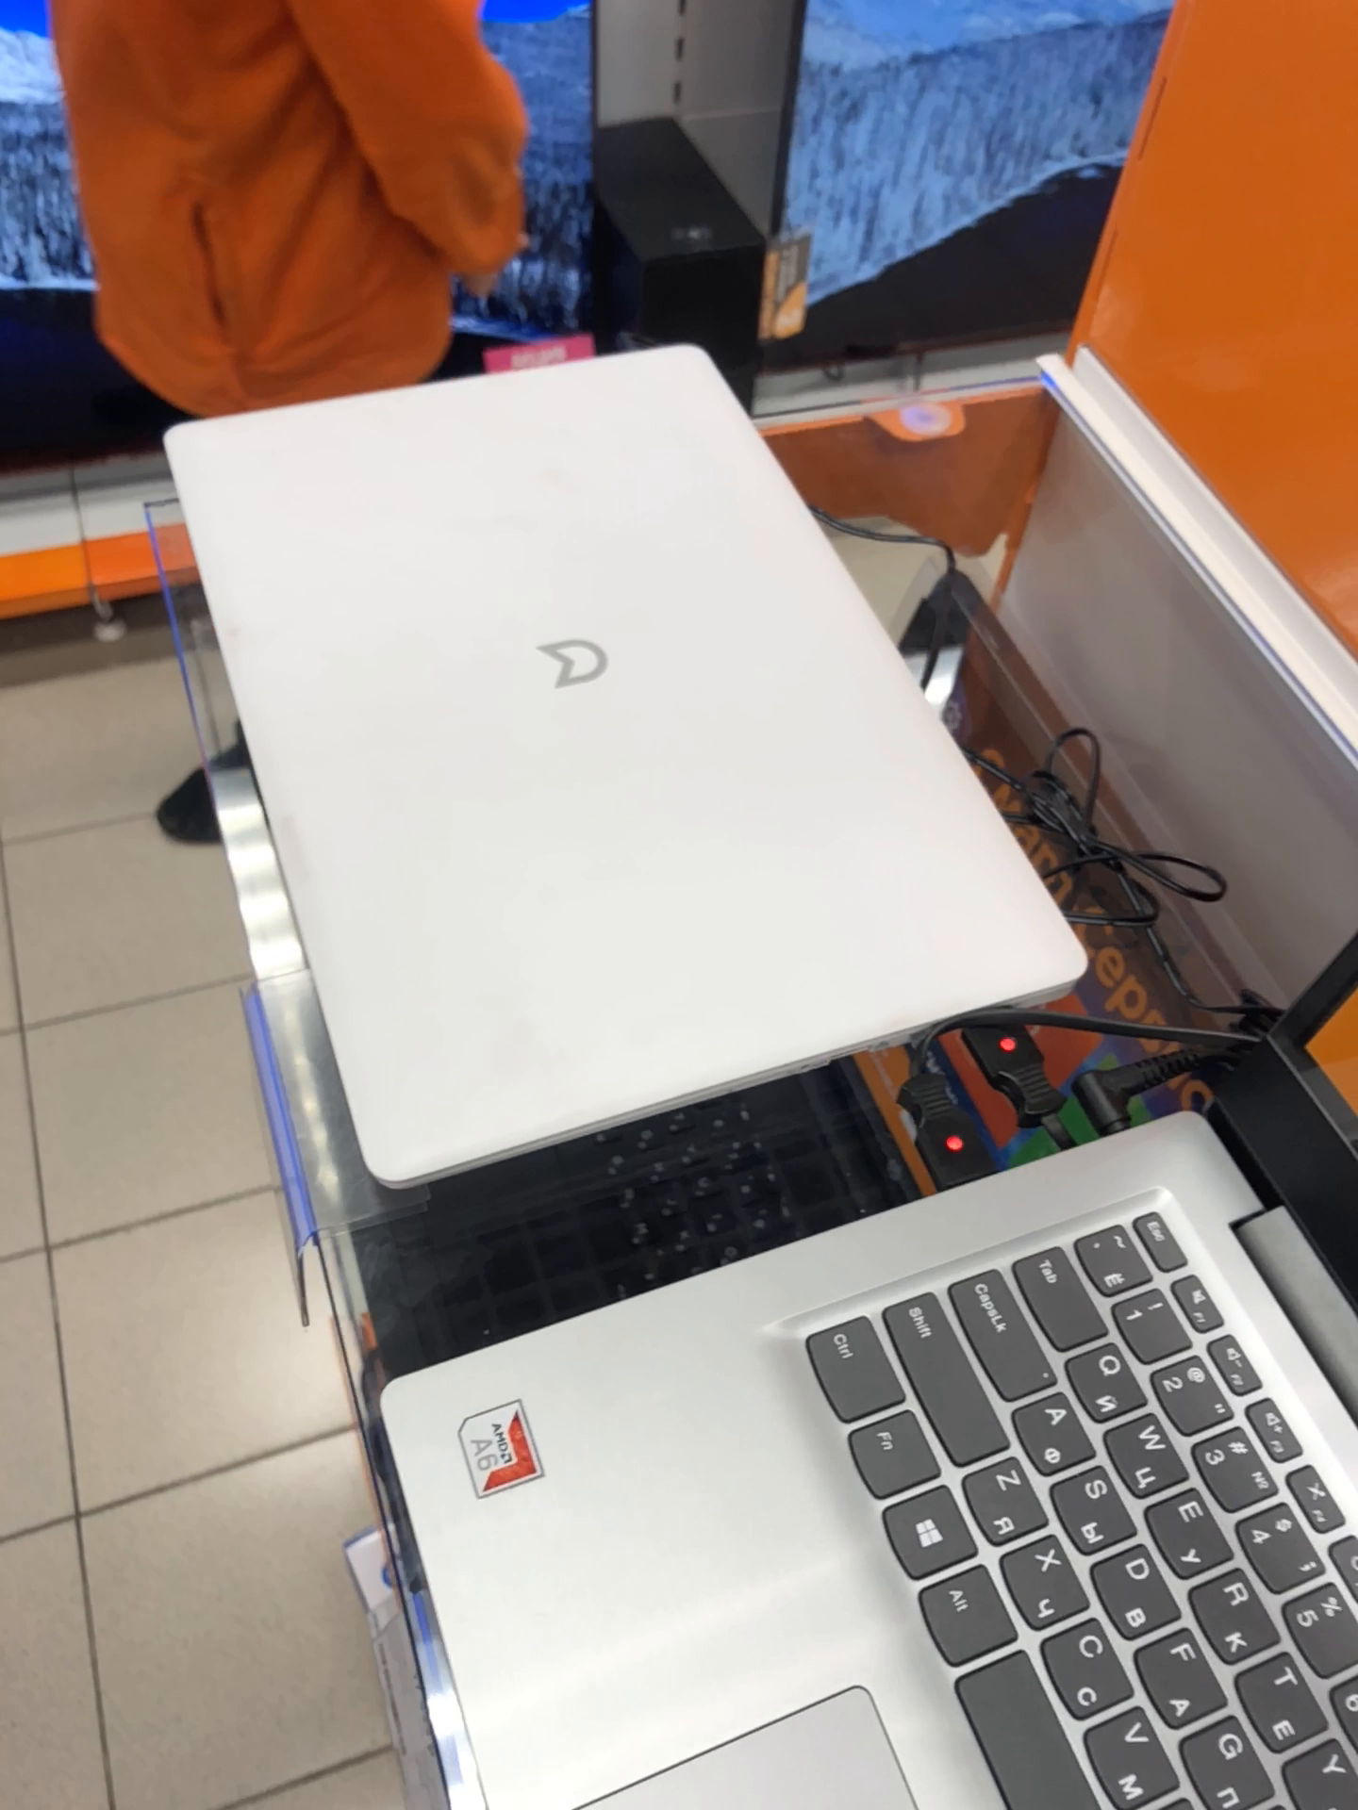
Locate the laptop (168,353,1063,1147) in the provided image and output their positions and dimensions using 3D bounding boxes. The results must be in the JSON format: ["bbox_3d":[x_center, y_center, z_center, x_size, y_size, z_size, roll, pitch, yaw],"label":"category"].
[{"bbox_3d":[-0.039,-0.082,0.506,0.212,0.002,0.314,-14,55,-15],"label":"laptop"}]

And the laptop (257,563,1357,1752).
[{"bbox_3d":[0.019,0.085,0.633,0.306,0.229,0.365,-12,54,-14],"label":"laptop"}]

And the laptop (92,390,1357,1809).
[{"bbox_3d":[0.121,0.140,0.216,0.279,0.224,0.345,-16,55,-16],"label":"laptop"}]
